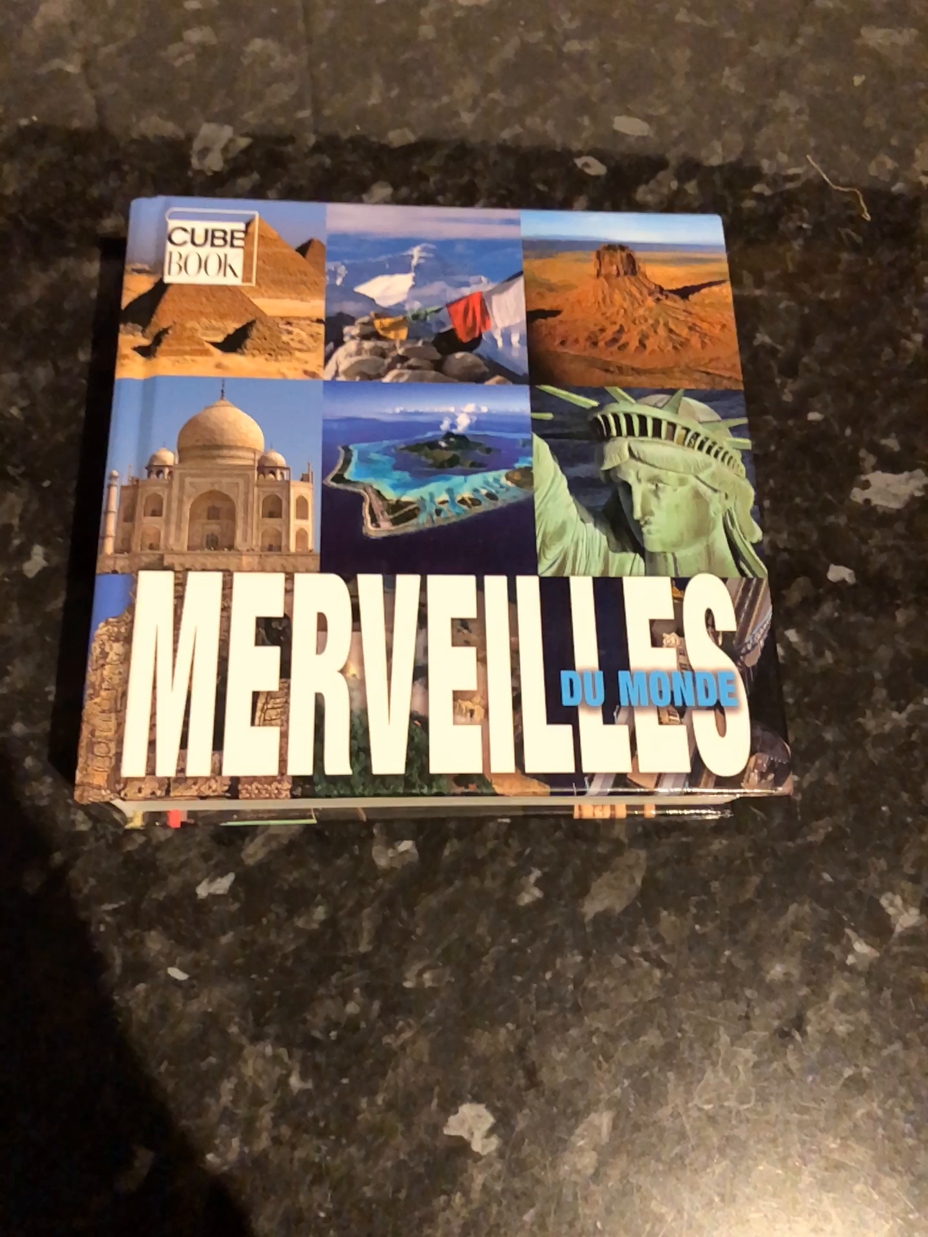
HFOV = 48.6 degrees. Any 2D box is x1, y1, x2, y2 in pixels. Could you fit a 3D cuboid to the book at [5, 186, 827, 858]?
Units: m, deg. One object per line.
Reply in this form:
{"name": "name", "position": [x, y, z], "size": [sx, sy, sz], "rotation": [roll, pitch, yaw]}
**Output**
{"name": "book", "position": [-0.012, -0.025, 0.267], "size": [0.170, 0.060, 0.160], "rotation": [0, 71, -4]}
